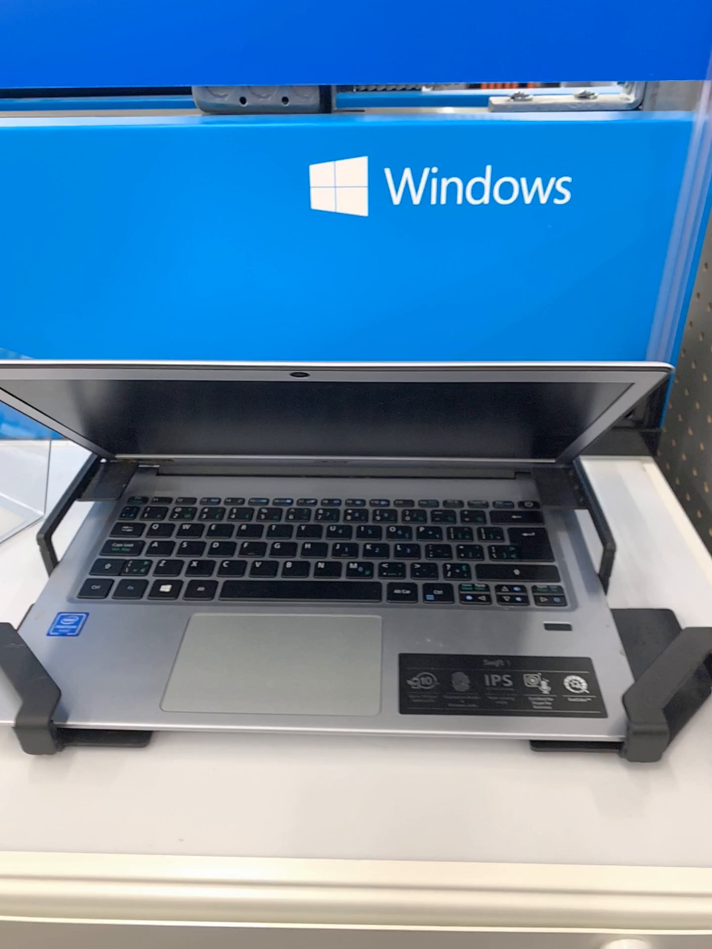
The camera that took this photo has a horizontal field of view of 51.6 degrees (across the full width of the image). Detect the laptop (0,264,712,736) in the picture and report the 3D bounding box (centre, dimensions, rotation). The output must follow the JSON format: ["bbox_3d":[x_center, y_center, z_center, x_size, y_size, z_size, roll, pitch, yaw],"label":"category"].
[{"bbox_3d":[-0.022,-0.006,0.377,0.305,0.141,0.214,0,32,2],"label":"laptop"}]
